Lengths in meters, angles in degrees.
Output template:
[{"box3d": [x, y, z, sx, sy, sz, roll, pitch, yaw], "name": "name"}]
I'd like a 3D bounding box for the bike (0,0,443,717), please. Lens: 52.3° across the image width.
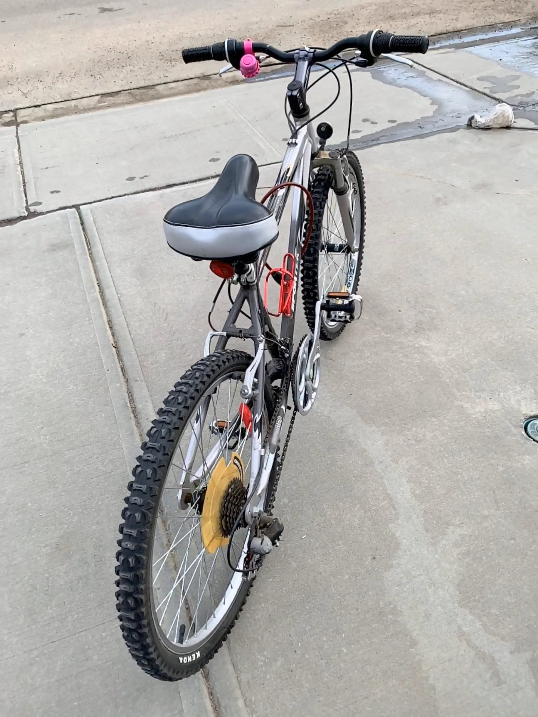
[{"box3d": [-0.022, -0.196, 1.241, 0.539, 0.825, 1.506, 10, 49, 15], "name": "bike"}]
